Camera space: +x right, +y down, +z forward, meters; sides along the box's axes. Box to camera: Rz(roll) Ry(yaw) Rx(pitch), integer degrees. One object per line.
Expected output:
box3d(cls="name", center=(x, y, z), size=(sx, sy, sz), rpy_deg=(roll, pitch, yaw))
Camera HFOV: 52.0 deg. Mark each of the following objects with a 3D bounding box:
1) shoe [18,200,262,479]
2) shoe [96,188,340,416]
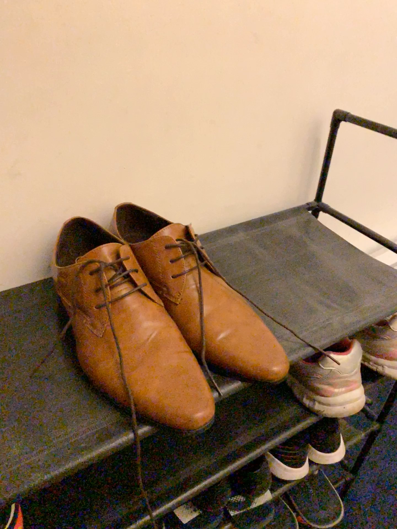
box3d(cls="shoe", center=(-0.074, 0.043, 0.405), size=(0.110, 0.099, 0.272), rpy_deg=(-20, 39, -29))
box3d(cls="shoe", center=(0.000, 0.017, 0.471), size=(0.100, 0.099, 0.291), rpy_deg=(-23, 41, -32))
